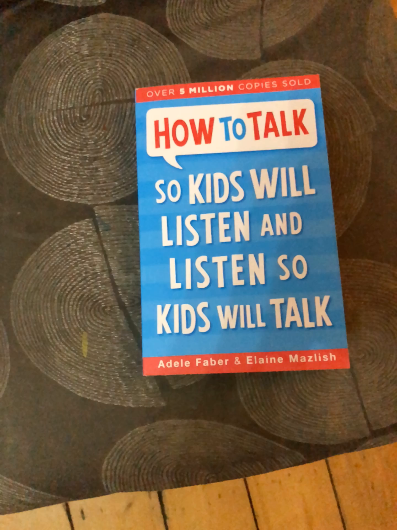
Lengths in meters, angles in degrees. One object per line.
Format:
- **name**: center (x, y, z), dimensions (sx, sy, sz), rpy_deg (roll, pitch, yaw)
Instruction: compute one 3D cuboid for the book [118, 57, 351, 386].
- **book**: center (0.021, -0.030, 0.303), dimensions (0.140, 0.030, 0.210), rpy_deg (-3, 85, 3)
